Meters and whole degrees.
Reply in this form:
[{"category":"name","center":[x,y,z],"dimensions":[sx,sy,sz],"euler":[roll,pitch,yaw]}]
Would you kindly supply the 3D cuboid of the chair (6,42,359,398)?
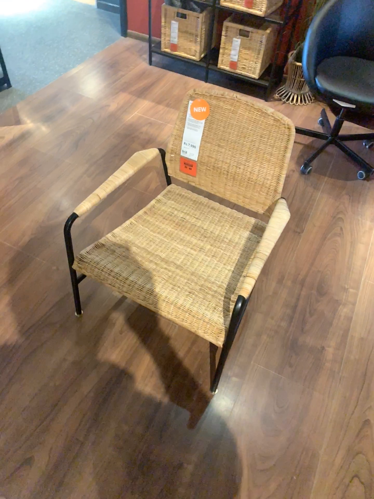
[{"category":"chair","center":[0.025,-0.124,1.369],"dimensions":[0.710,0.758,0.792],"euler":[25,52,15]}]
